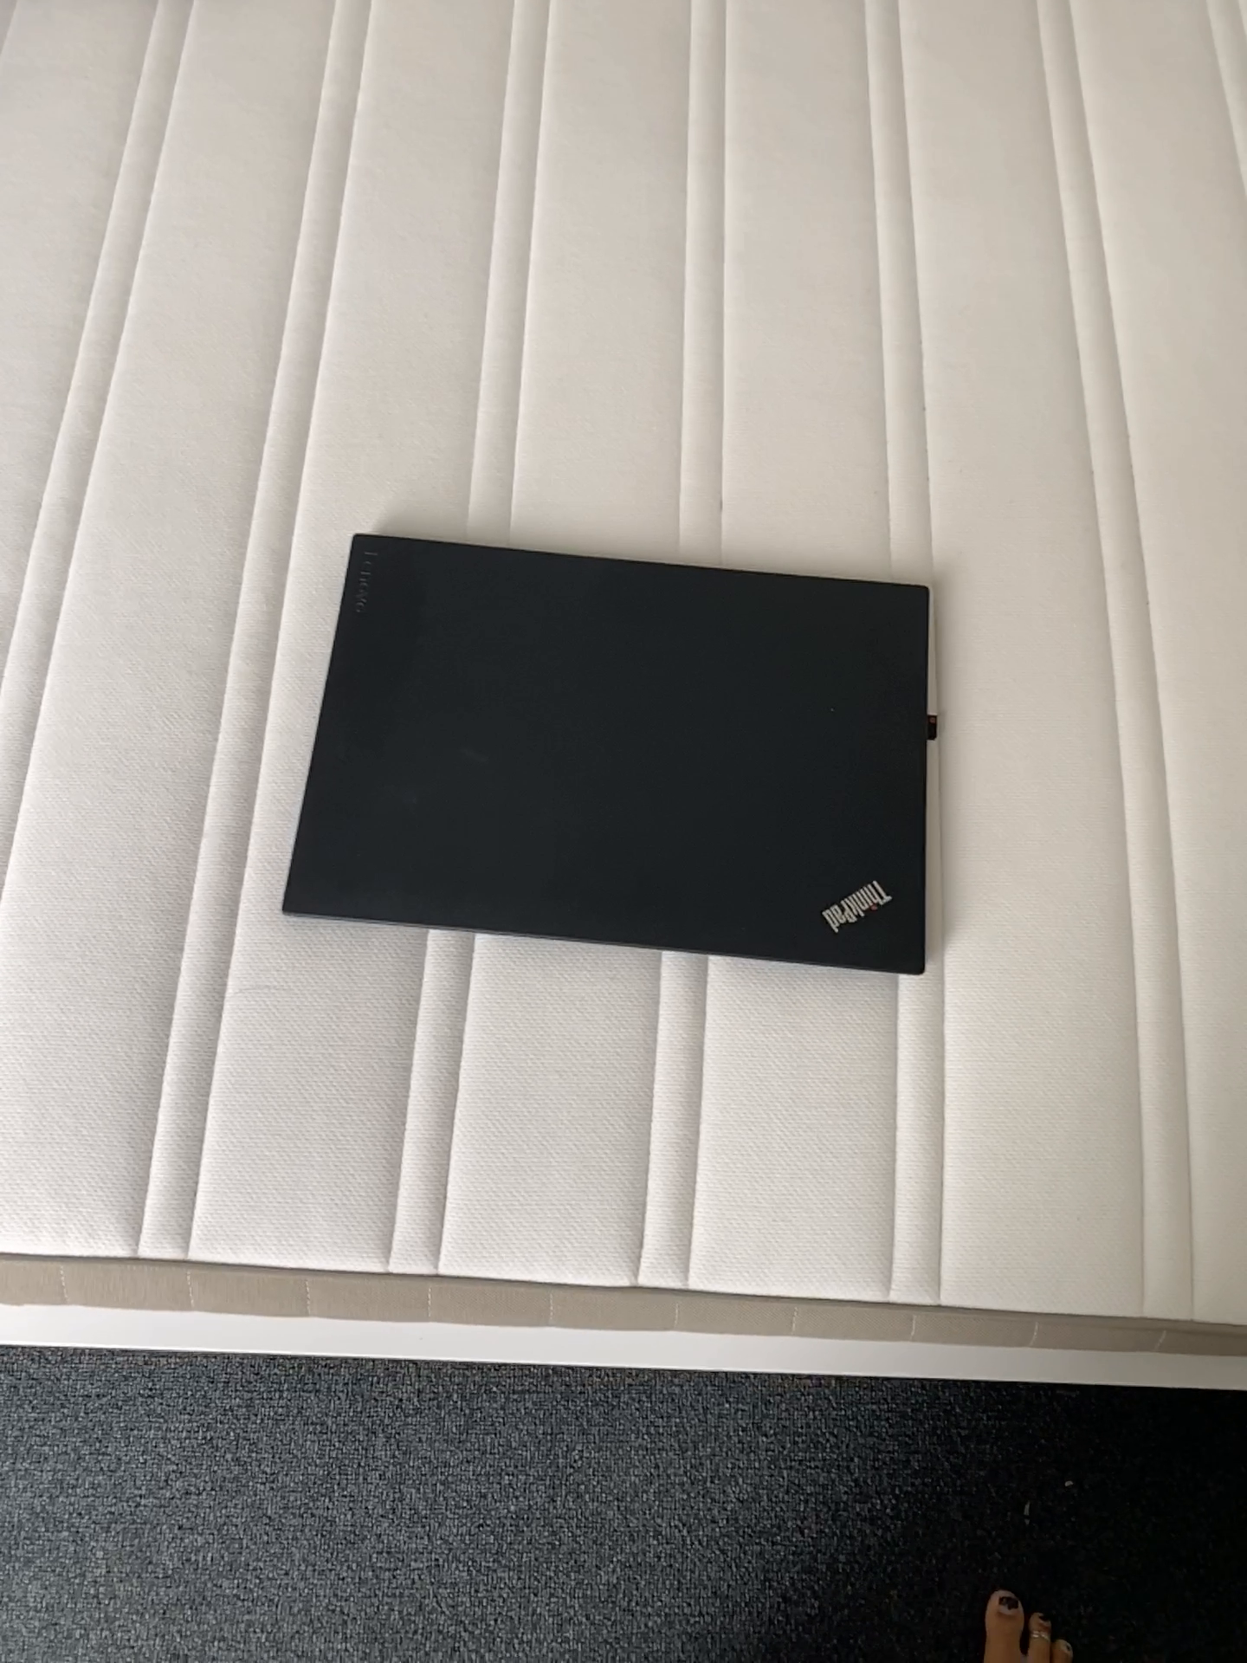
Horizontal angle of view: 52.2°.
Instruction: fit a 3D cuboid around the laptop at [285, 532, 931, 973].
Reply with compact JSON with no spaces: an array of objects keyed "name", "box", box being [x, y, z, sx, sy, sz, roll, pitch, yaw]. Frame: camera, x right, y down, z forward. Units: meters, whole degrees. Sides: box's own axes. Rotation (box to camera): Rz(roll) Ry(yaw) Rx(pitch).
[{"name":"laptop","box":[0.001,-0.042,0.604,0.288,0.005,0.193,6,72,0]}]
